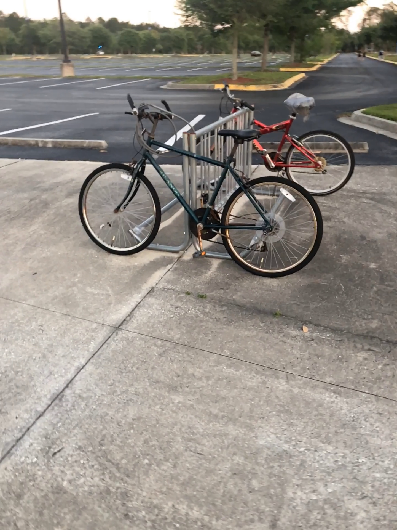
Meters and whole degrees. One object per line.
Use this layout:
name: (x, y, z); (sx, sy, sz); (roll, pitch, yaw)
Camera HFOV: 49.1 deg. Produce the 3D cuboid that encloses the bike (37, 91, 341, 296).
bike: (-0.061, -0.546, 2.921); (1.751, 1.103, 0.586); (8, 27, 18)
